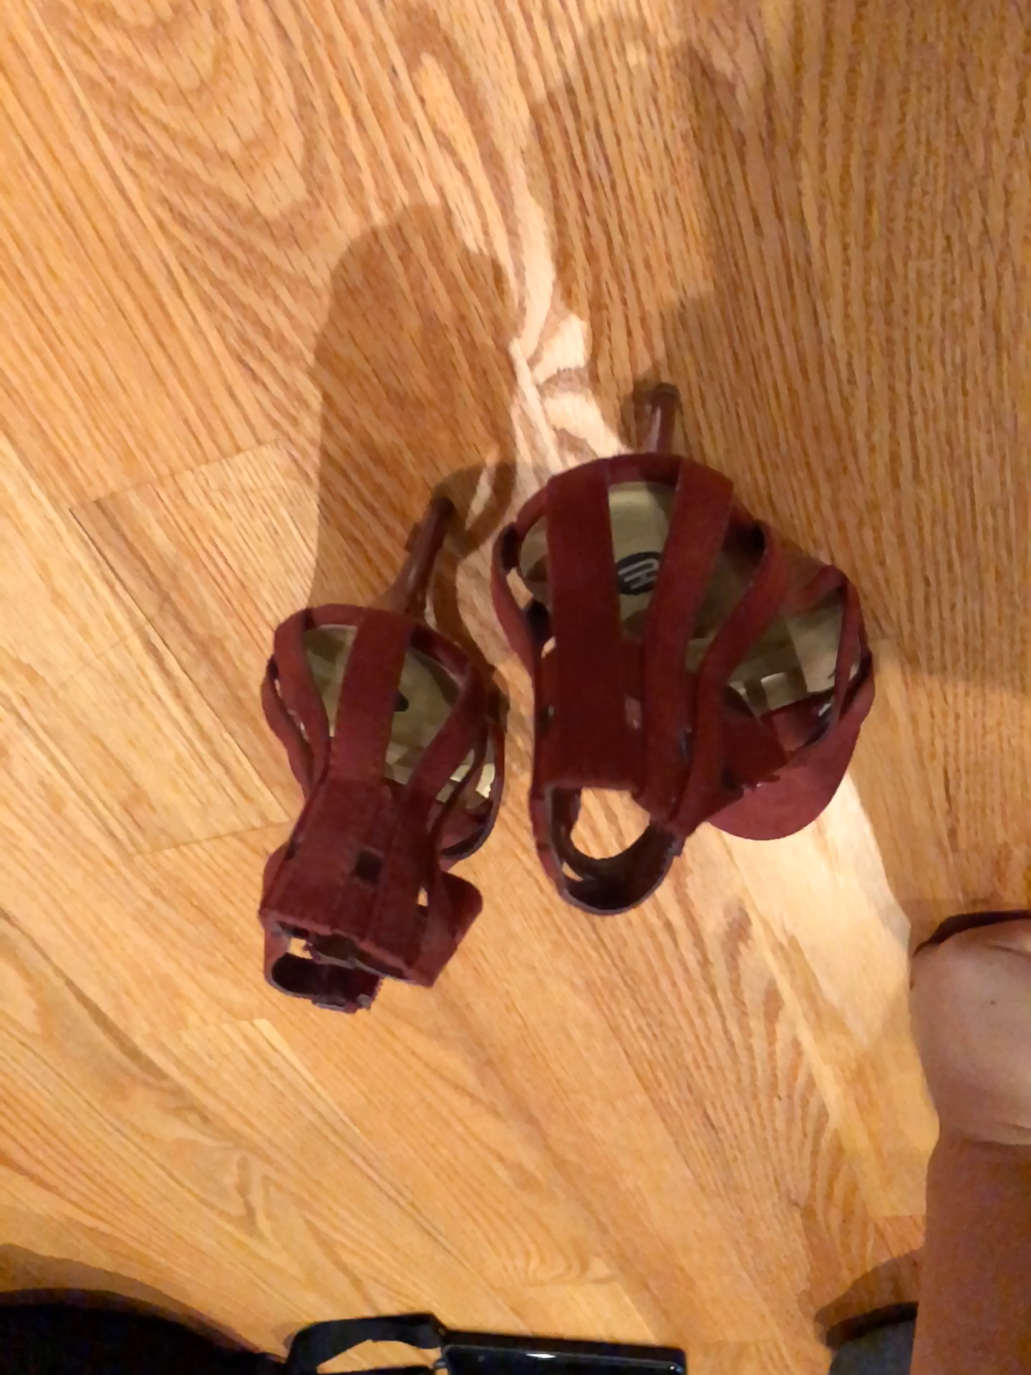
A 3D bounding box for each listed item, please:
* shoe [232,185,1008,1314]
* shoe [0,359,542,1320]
[{"bbox_3d":[0.046,0.018,0.285,0.085,0.175,0.207,-14,126,20],"label":"shoe"},{"bbox_3d":[-0.053,0.042,0.327,0.085,0.175,0.200,8,130,3],"label":"shoe"}]
